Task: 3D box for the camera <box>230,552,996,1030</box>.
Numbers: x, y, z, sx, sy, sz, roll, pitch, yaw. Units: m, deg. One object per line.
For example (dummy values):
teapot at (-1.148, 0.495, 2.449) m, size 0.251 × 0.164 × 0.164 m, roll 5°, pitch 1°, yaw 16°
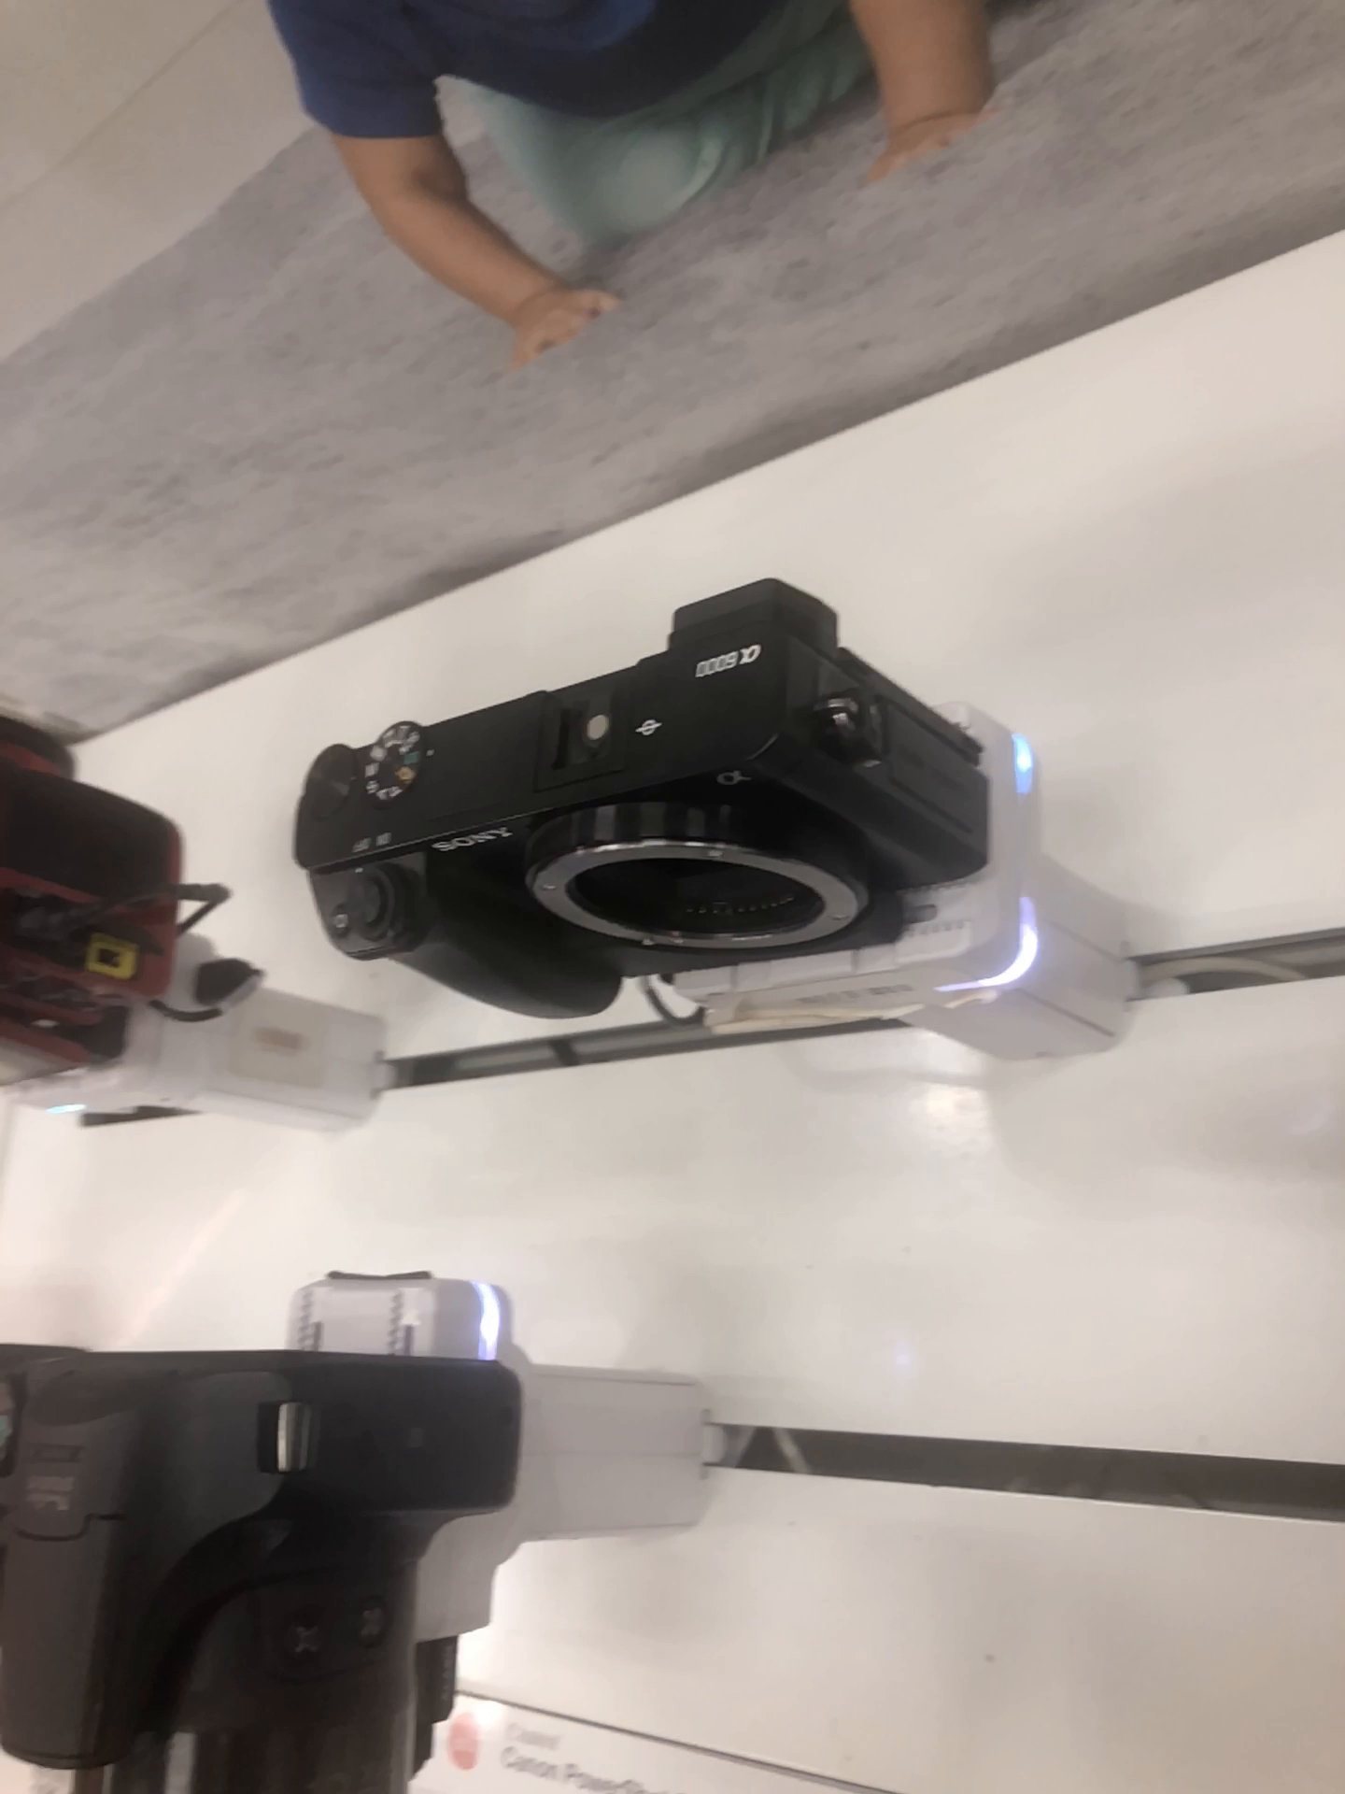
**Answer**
camera at (-0.012, -0.011, 0.274) m, size 0.120 × 0.070 × 0.040 m, roll -12°, pitch 64°, yaw 37°
